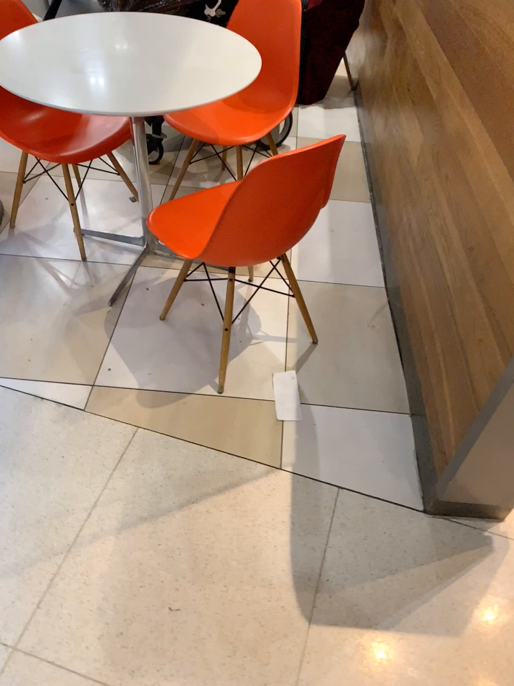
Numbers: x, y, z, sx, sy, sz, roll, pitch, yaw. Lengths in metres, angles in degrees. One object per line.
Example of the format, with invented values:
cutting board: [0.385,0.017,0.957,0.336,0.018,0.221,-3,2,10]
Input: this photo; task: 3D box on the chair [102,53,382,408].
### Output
chair: [-0.067,-0.315,1.505,0.449,0.742,0.524,-26,53,-26]

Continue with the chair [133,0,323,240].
chair: [-0.105,-0.923,2.090,0.449,0.742,0.524,25,50,19]

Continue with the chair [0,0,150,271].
chair: [-0.766,-0.768,1.901,0.511,0.762,0.451,23,49,17]
